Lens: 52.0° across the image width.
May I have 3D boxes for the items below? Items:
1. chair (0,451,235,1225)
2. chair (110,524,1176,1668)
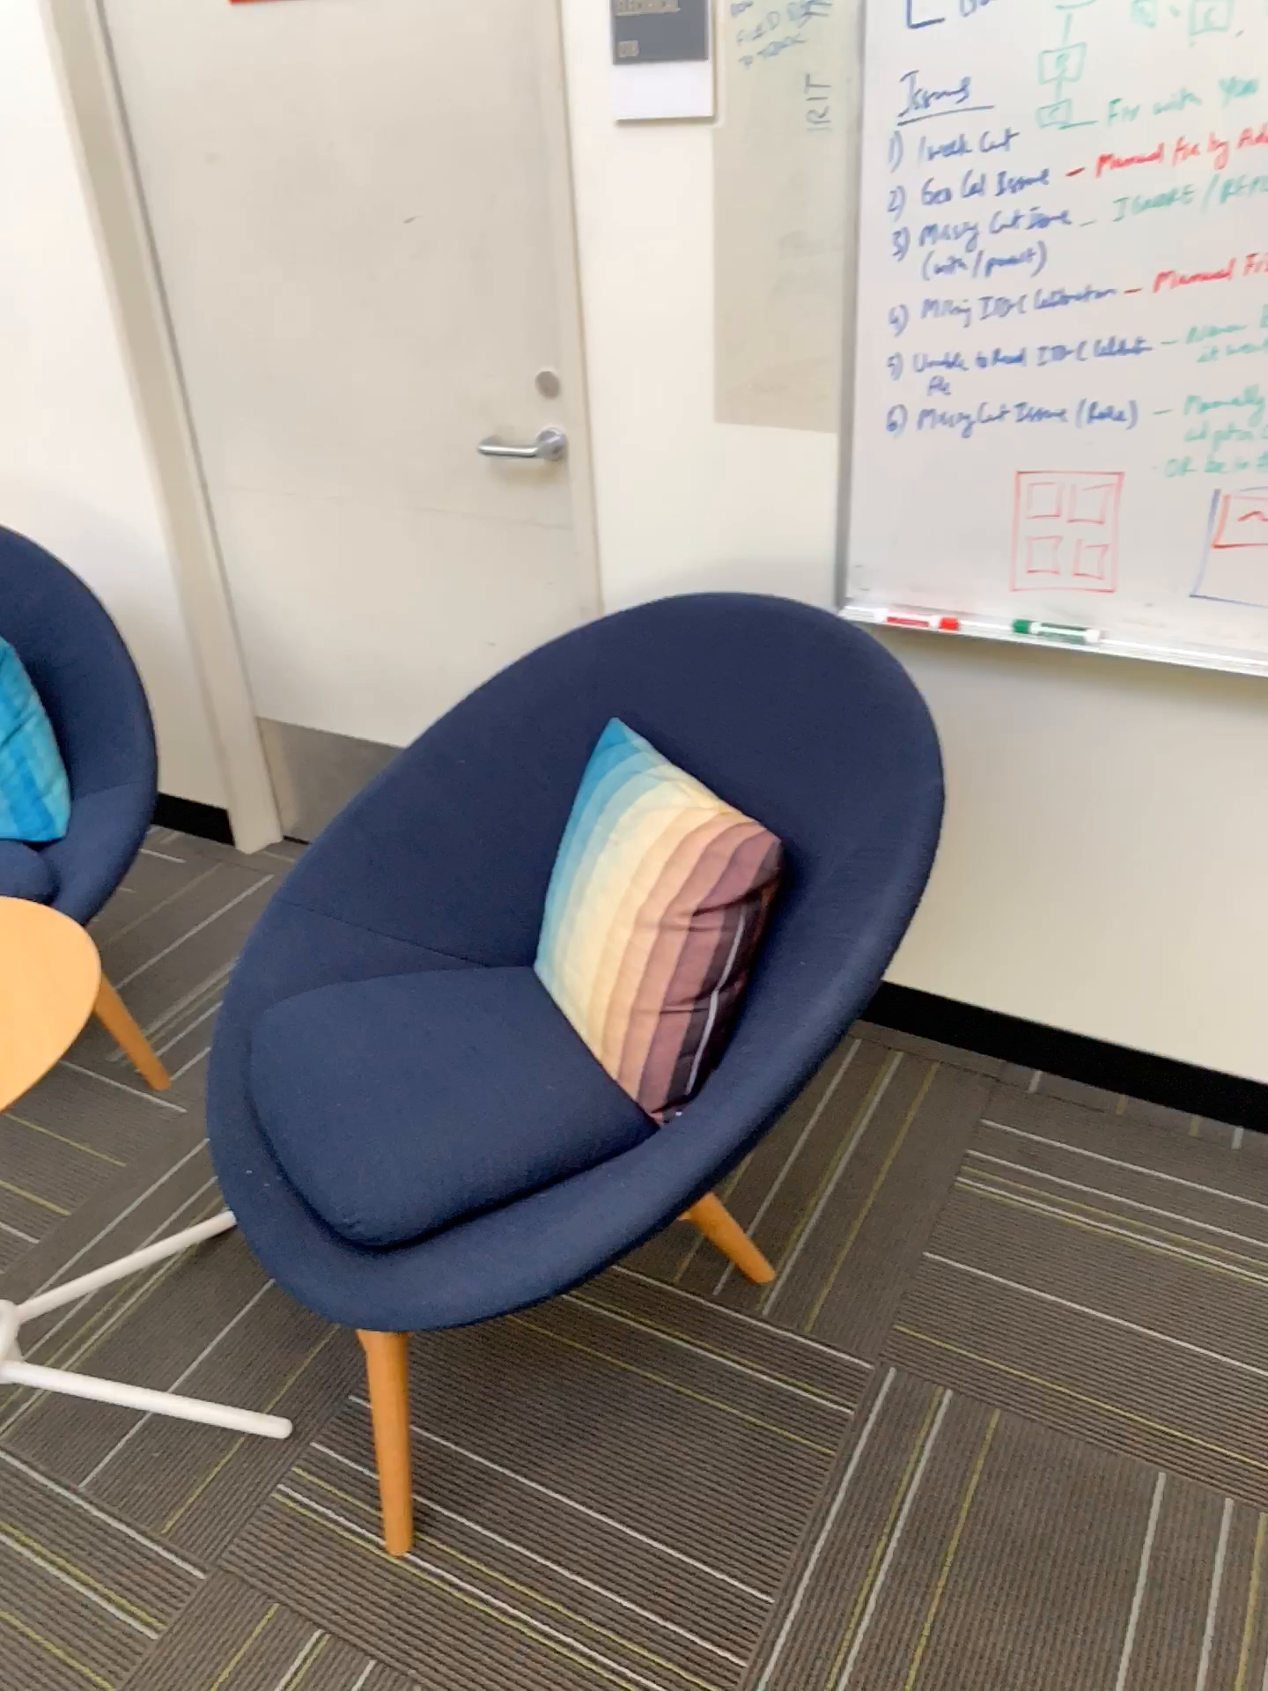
[{"bbox_3d":[-1.220,-0.087,2.176,0.790,0.835,0.845,-15,33,-18],"label":"chair"},{"bbox_3d":[-0.048,0.228,1.718,0.980,0.944,0.835,-14,32,-16],"label":"chair"}]
